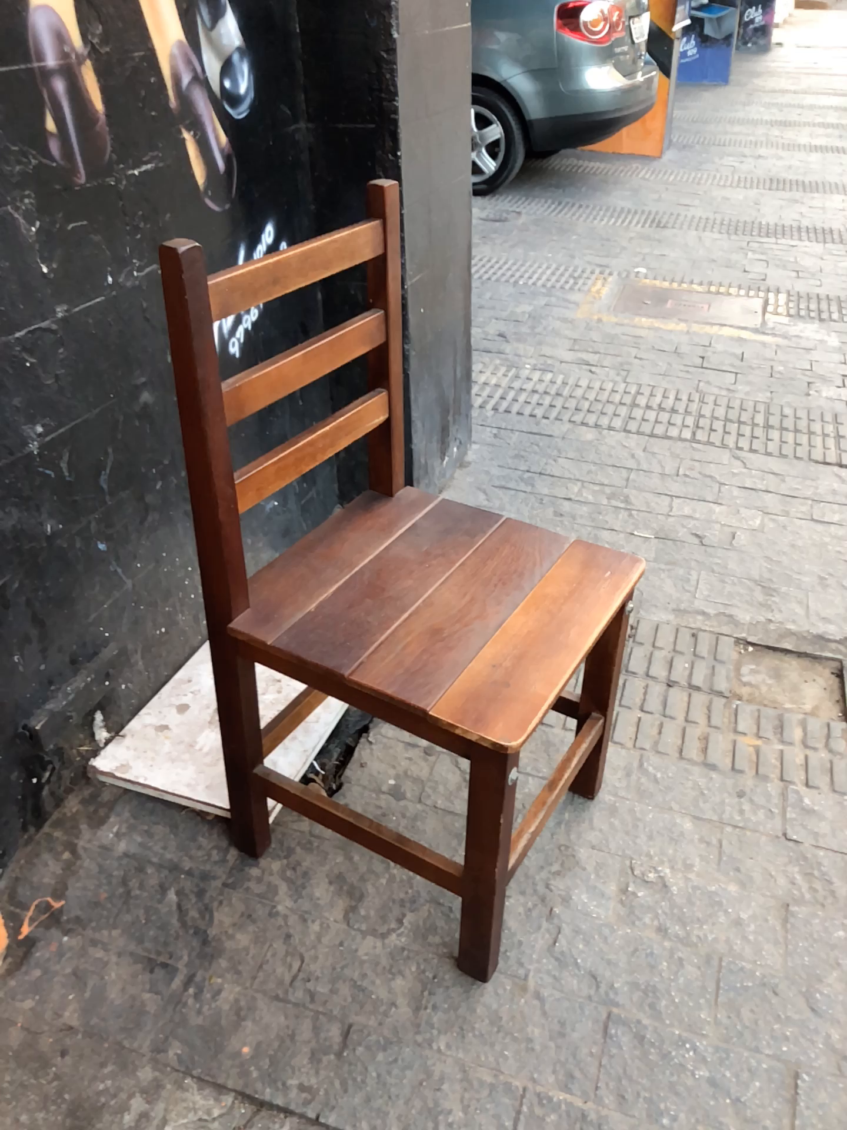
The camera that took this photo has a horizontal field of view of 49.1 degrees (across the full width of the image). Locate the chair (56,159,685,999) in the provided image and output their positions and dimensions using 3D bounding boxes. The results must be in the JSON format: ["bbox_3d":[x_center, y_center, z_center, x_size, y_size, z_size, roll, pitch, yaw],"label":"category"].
[{"bbox_3d":[-0.023,-0.004,1.219,0.501,0.893,0.463,15,35,26],"label":"chair"}]
